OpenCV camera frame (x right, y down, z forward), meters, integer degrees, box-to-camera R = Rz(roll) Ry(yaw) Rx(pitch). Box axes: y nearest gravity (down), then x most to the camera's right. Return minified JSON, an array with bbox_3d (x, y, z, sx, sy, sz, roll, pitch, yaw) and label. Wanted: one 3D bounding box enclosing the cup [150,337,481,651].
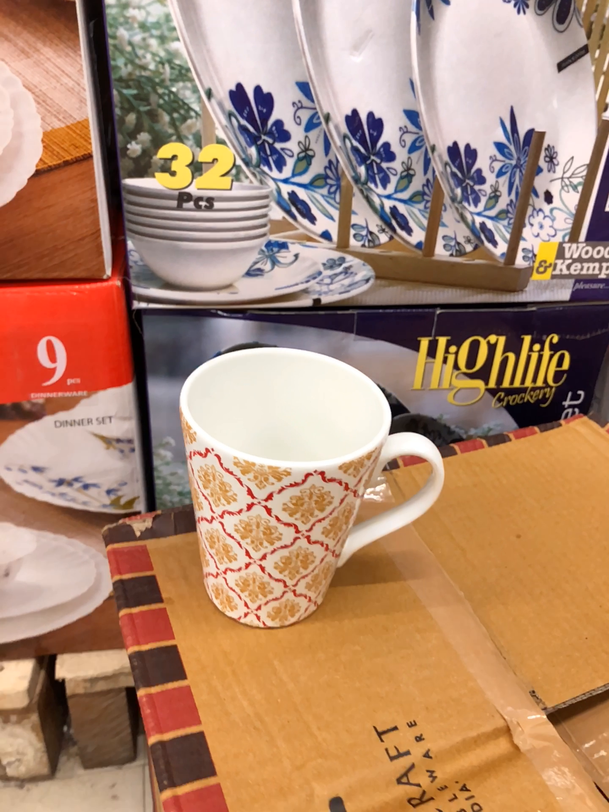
[{"bbox_3d":[0.003,0.034,0.287,0.110,0.089,0.091,3,31,-1],"label":"cup"}]
